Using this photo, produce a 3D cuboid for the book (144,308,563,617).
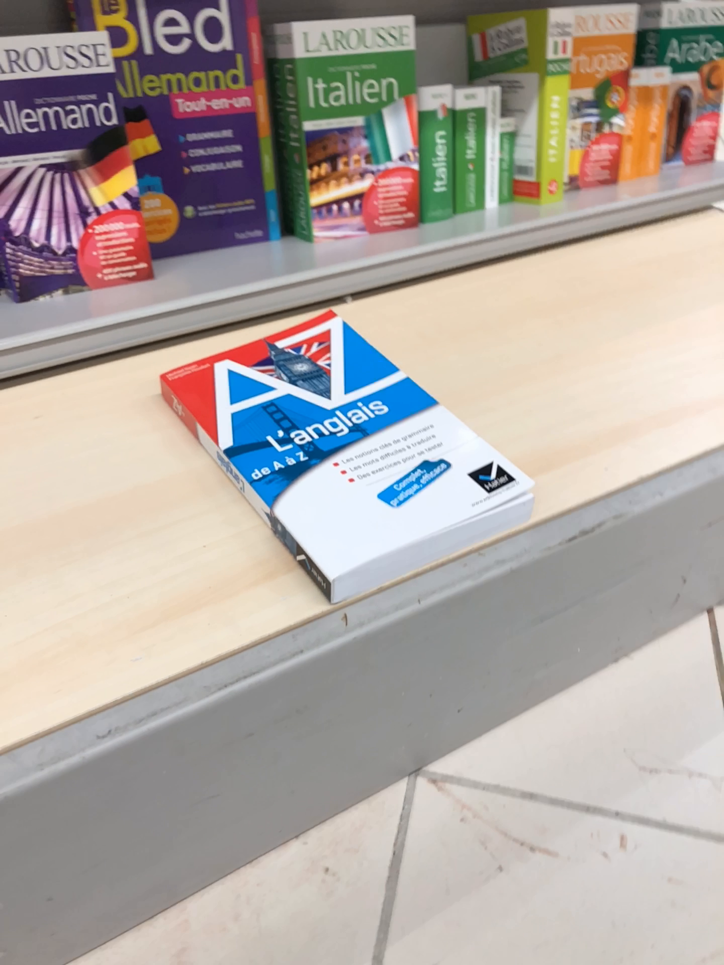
[{"bbox_3d":[-0.017,-0.032,0.479,0.143,0.030,0.235,-20,43,-27],"label":"book"}]
